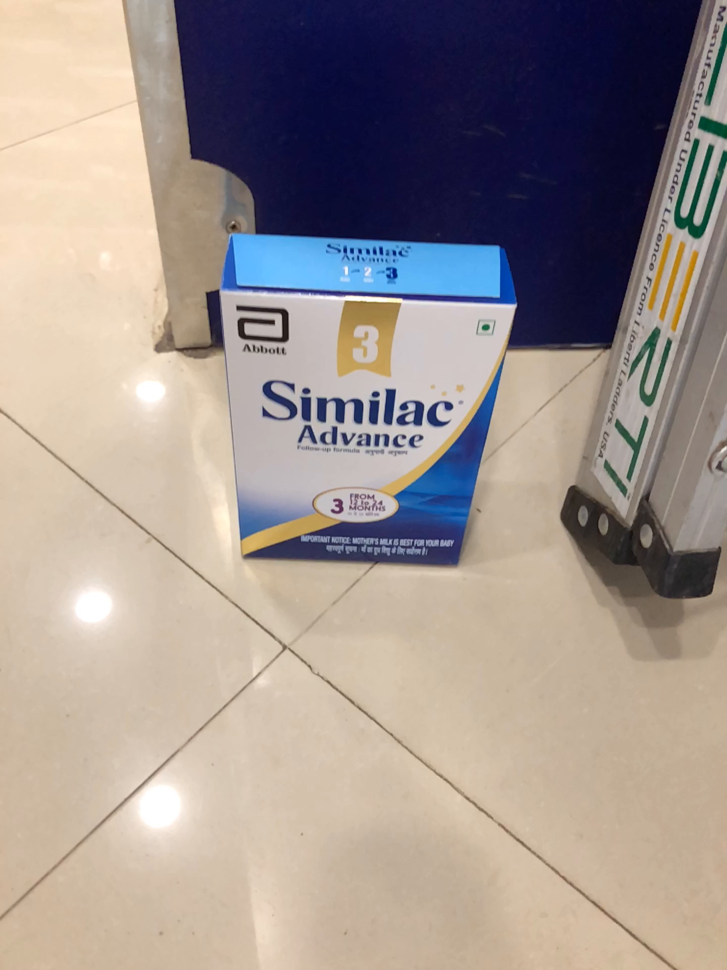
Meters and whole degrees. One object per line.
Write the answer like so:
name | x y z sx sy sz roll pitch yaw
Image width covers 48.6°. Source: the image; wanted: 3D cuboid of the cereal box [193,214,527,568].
cereal box | -0.006 -0.036 0.428 0.140 0.199 0.050 2 49 -2
